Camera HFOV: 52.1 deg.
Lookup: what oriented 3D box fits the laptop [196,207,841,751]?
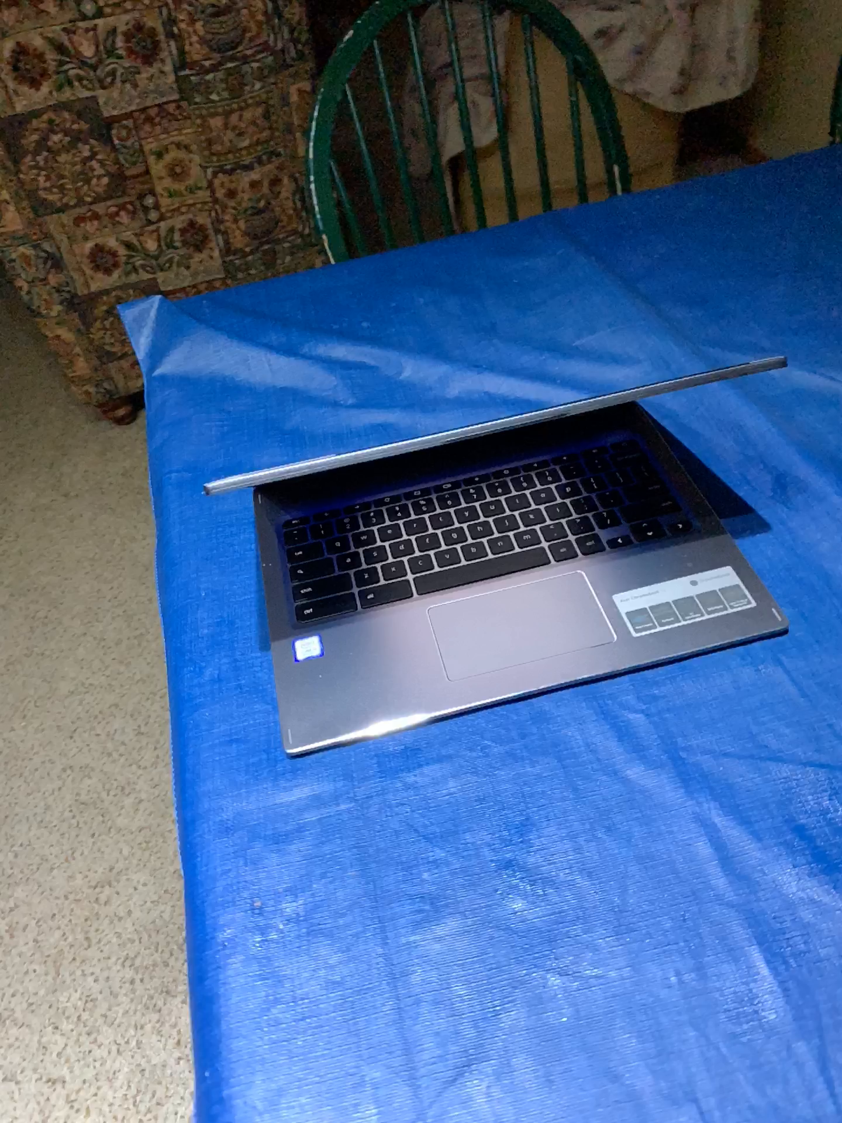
[{"bbox_3d":[0.034,-0.065,0.535,0.303,0.151,0.251,-13,45,-4],"label":"laptop"}]
